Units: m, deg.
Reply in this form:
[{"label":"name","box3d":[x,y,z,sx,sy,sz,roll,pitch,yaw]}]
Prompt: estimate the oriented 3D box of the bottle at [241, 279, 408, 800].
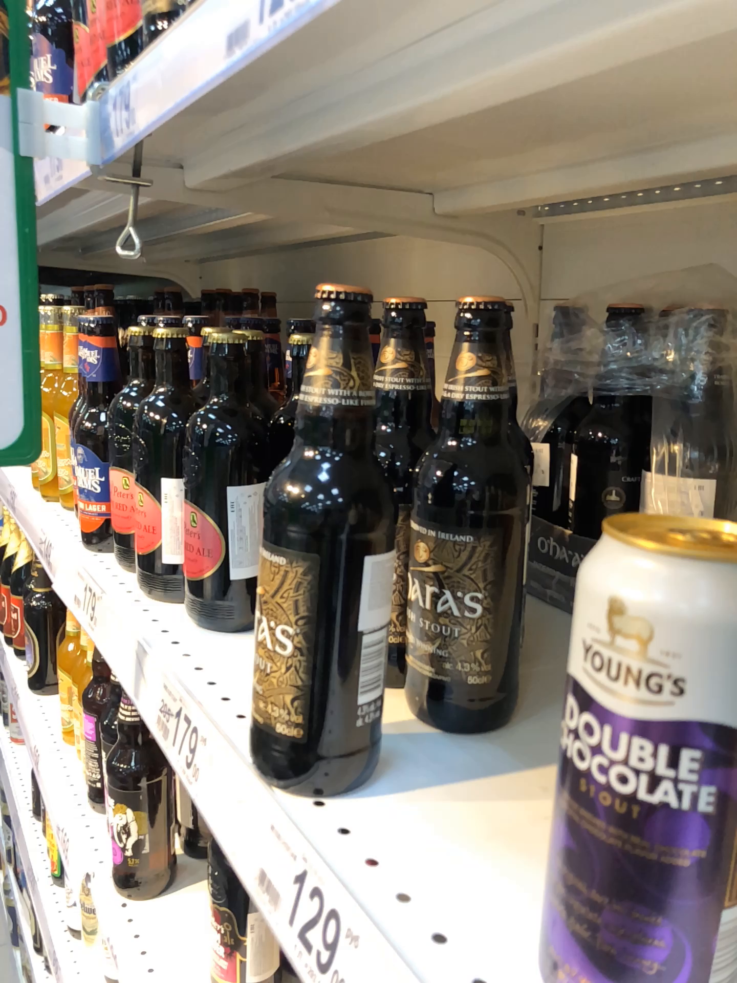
[{"label":"bottle","box3d":[-0.023,0.021,0.396,0.070,0.239,0.070,1,11,0]}]
